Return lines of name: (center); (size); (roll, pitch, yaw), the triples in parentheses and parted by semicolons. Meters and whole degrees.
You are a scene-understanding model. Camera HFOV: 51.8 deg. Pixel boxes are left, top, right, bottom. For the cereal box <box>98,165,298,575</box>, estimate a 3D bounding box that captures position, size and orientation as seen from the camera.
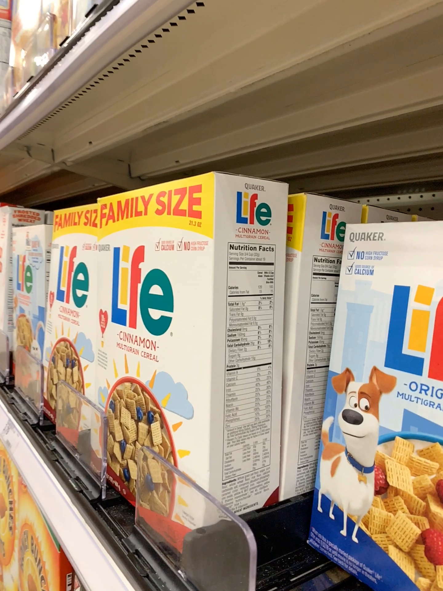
cereal box: (-0.034, 0.042, 0.384); (0.070, 0.260, 0.190); (0, 4, -34)
